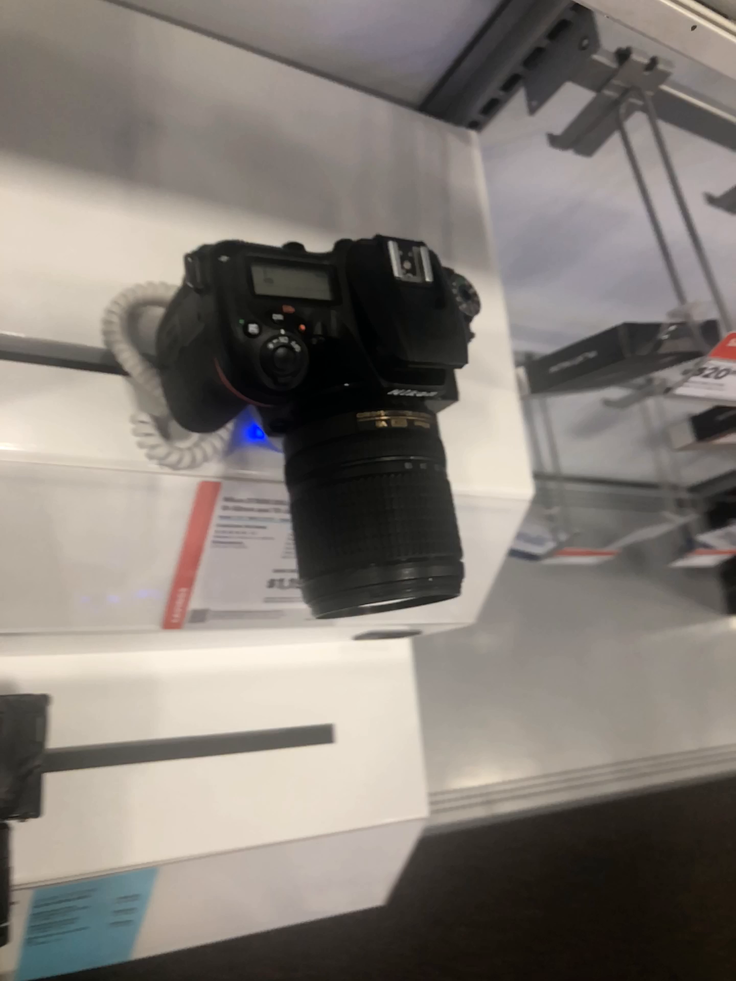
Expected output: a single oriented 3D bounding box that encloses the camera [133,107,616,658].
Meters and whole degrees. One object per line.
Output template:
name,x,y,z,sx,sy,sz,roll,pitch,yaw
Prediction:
camera,-0.007,-0.037,0.374,0.151,0.119,0.190,-1,72,-31
